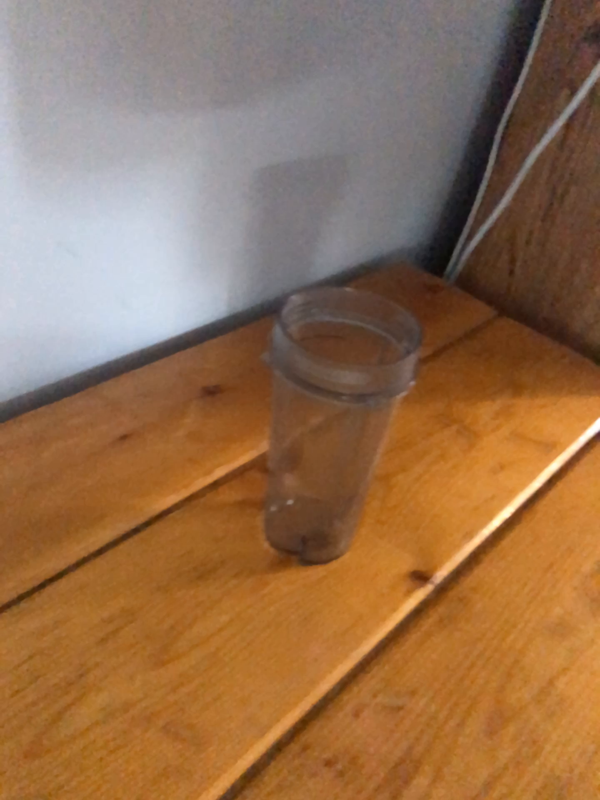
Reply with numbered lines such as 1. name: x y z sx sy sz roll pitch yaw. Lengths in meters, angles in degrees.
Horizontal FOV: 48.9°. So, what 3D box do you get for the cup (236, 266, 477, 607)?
1. cup: 0.028 0.028 0.426 0.090 0.189 0.080 30 43 20
